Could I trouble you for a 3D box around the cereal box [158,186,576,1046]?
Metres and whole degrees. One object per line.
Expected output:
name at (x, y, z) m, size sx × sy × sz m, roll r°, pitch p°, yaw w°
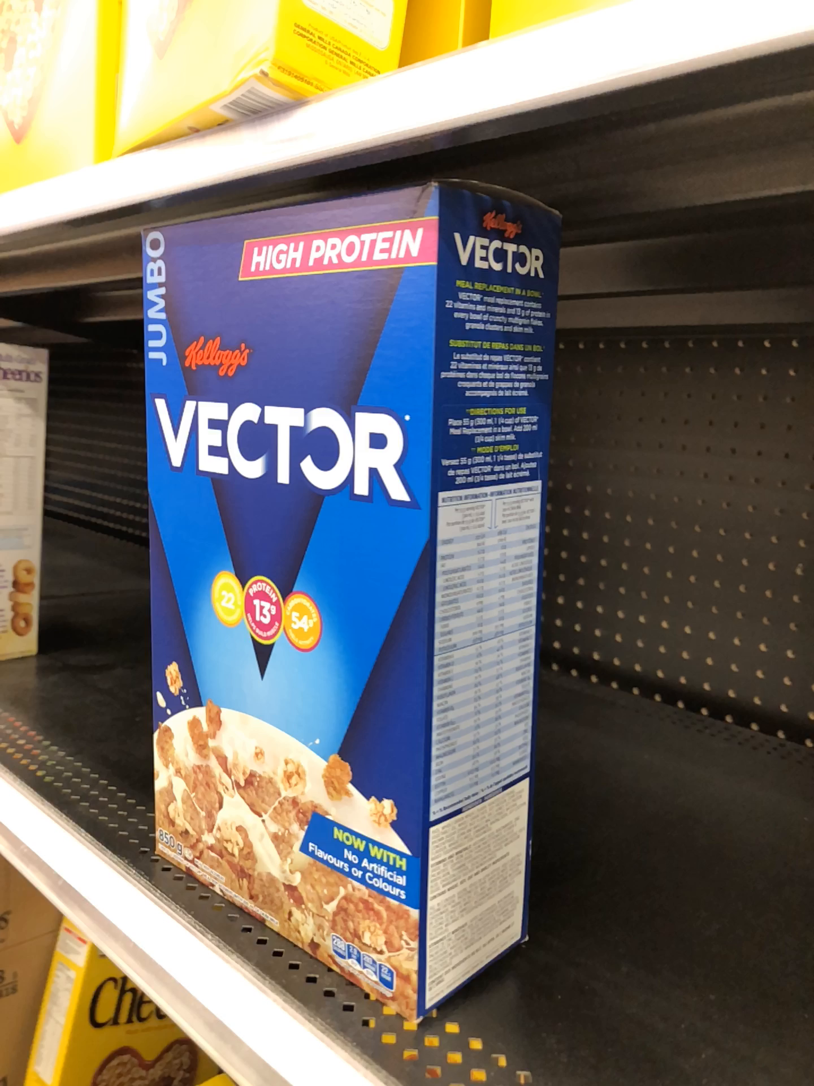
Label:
cereal box at (-0.033, 0.023, 0.453) m, size 0.200 × 0.349 × 0.080 m, roll 10°, pitch 12°, yaw 42°
